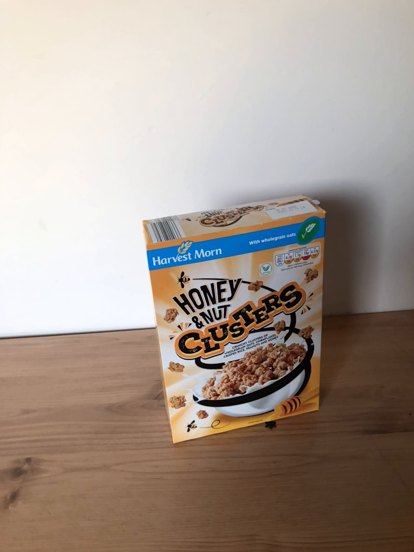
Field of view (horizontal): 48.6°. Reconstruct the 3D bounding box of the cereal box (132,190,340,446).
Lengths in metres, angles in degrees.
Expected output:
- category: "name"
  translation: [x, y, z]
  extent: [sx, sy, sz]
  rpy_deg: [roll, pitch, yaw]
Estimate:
- category: "cereal box"
  translation: [0.034, 0.049, 0.503]
  extent: [0.190, 0.248, 0.070]
  rpy_deg: [-10, 29, -10]
